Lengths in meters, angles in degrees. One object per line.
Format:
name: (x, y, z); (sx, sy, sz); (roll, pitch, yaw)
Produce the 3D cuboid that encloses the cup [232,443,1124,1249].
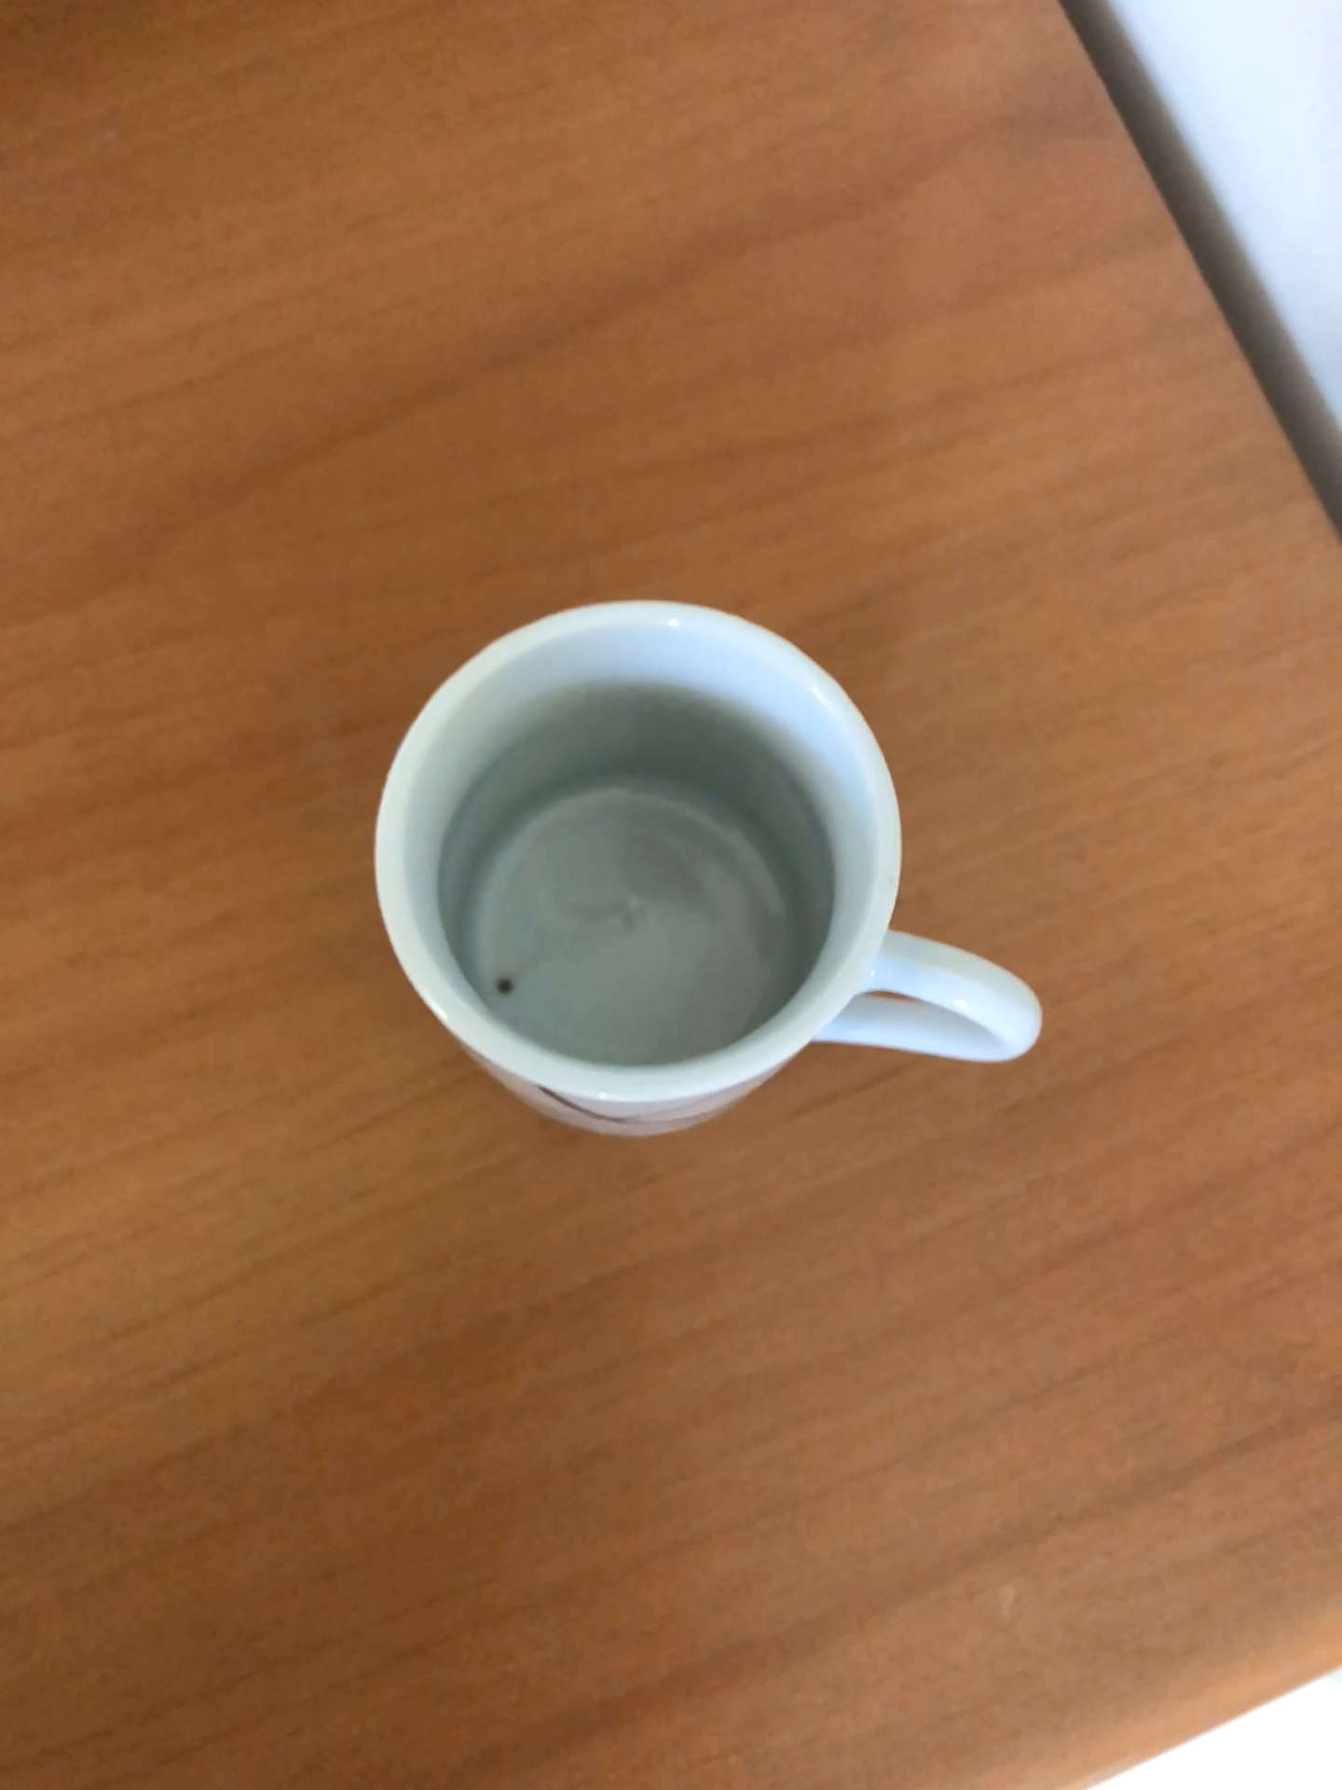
cup: (0.001, -0.001, 0.169); (0.070, 0.050, 0.060); (18, 76, 1)
